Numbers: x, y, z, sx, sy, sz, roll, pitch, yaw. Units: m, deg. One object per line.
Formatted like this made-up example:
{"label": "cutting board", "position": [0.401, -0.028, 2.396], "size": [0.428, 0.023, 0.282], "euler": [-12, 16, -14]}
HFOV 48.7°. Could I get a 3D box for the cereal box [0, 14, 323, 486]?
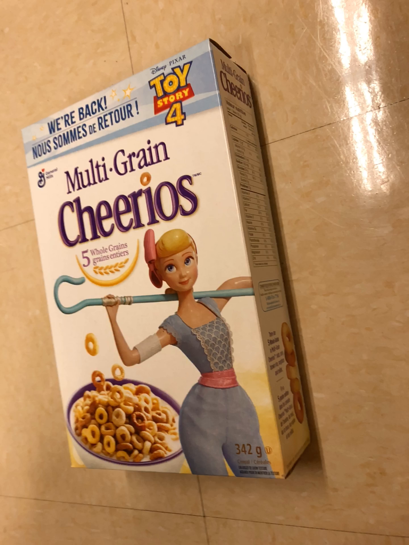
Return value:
{"label": "cereal box", "position": [-0.047, -0.001, 0.354], "size": [0.211, 0.070, 0.290], "euler": [-11, 87, 29]}
